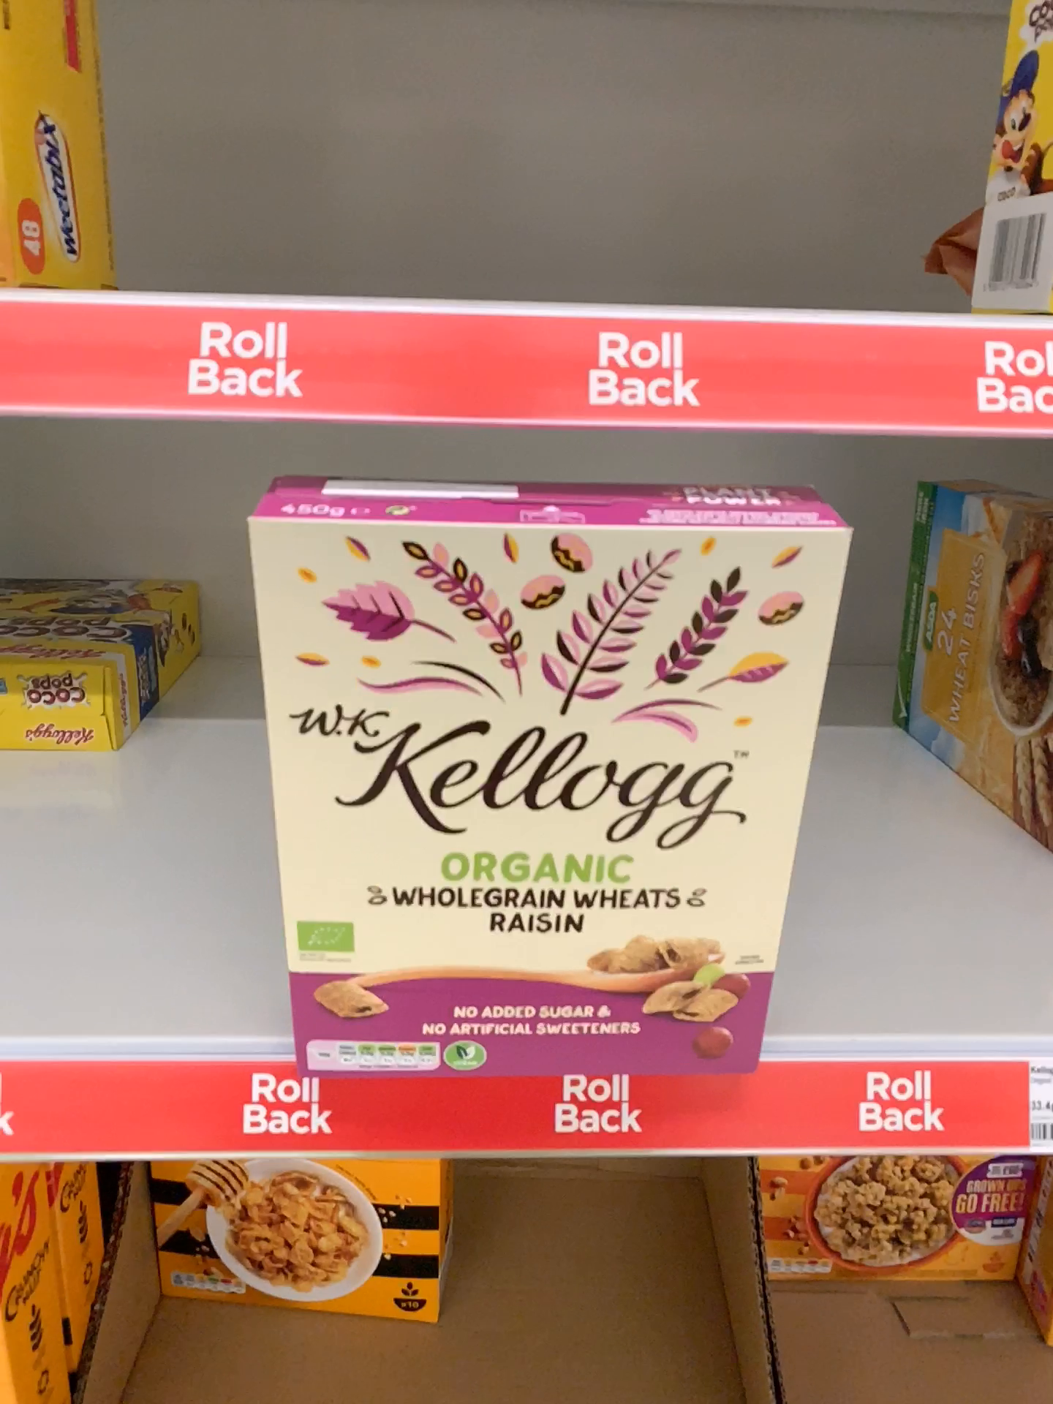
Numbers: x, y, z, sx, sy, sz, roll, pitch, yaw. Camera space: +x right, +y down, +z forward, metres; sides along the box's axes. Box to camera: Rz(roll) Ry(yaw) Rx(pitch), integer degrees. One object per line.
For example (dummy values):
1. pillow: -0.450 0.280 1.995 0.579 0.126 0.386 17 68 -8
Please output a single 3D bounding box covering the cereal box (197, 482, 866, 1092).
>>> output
1. cereal box: 0.000 0.035 0.393 0.200 0.218 0.061 0 25 -2
